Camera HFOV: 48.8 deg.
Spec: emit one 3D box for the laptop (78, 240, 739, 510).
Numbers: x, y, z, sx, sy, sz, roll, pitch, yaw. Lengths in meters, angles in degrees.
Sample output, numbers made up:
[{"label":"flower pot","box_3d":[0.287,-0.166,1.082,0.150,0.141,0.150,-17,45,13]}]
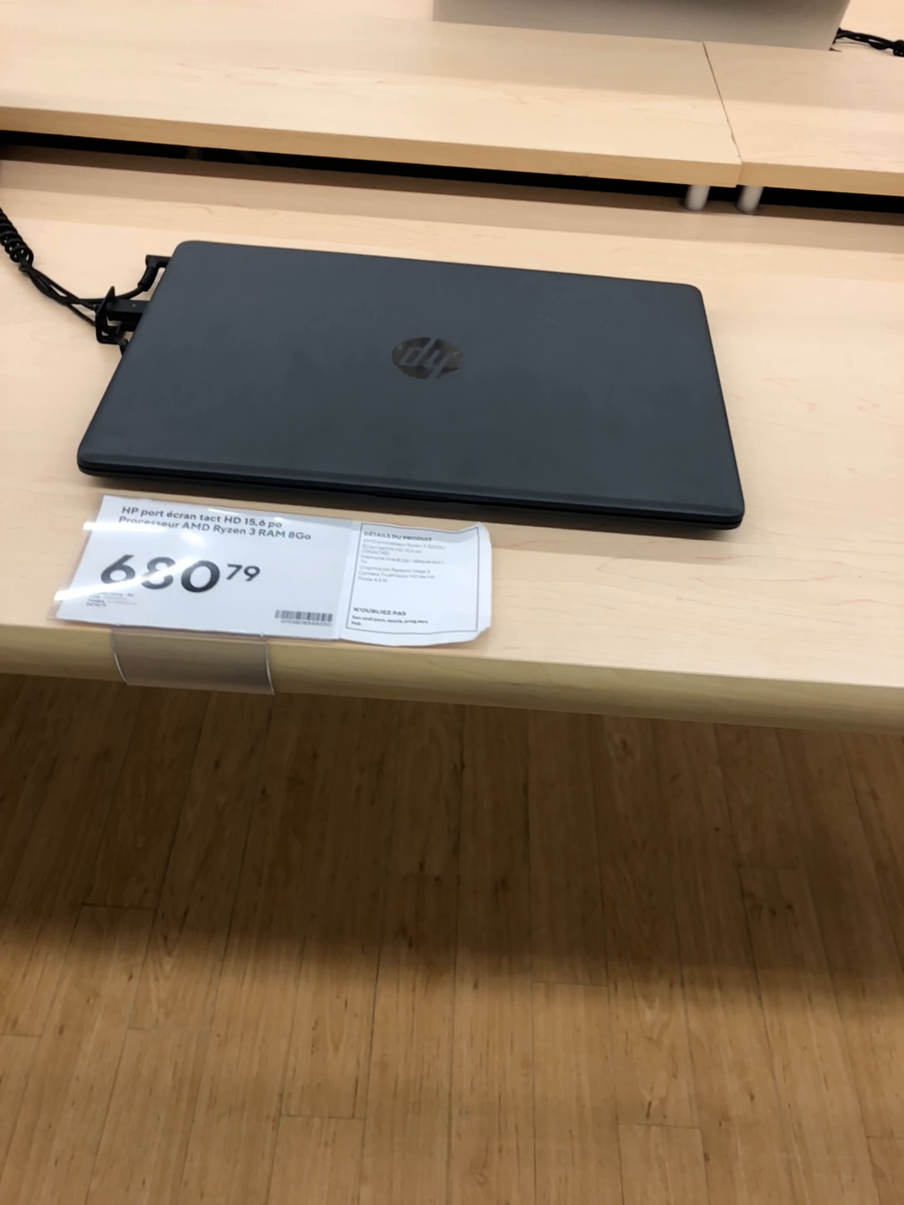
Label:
[{"label":"laptop","box_3d":[-0.016,-0.159,0.647,0.373,0.005,0.245,5,47,-1]}]
